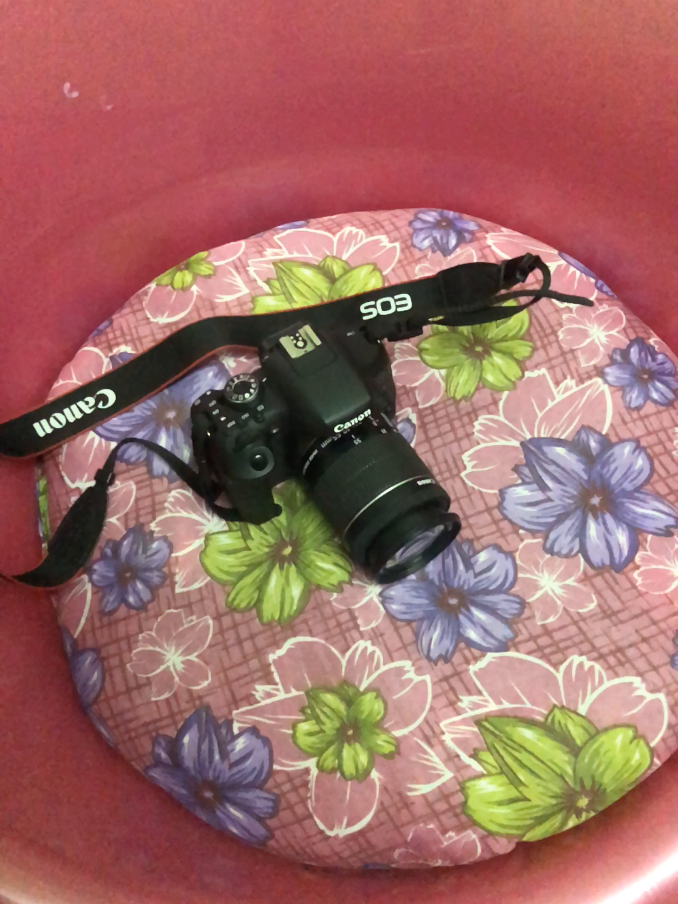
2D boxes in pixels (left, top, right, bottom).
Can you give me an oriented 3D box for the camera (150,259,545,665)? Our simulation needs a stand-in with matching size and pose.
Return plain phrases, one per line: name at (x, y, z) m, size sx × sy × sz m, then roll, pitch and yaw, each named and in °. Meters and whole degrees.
camera at (0.001, 0.006, 0.428) m, size 0.140 × 0.100 × 0.161 m, roll -28°, pitch 67°, yaw -12°
